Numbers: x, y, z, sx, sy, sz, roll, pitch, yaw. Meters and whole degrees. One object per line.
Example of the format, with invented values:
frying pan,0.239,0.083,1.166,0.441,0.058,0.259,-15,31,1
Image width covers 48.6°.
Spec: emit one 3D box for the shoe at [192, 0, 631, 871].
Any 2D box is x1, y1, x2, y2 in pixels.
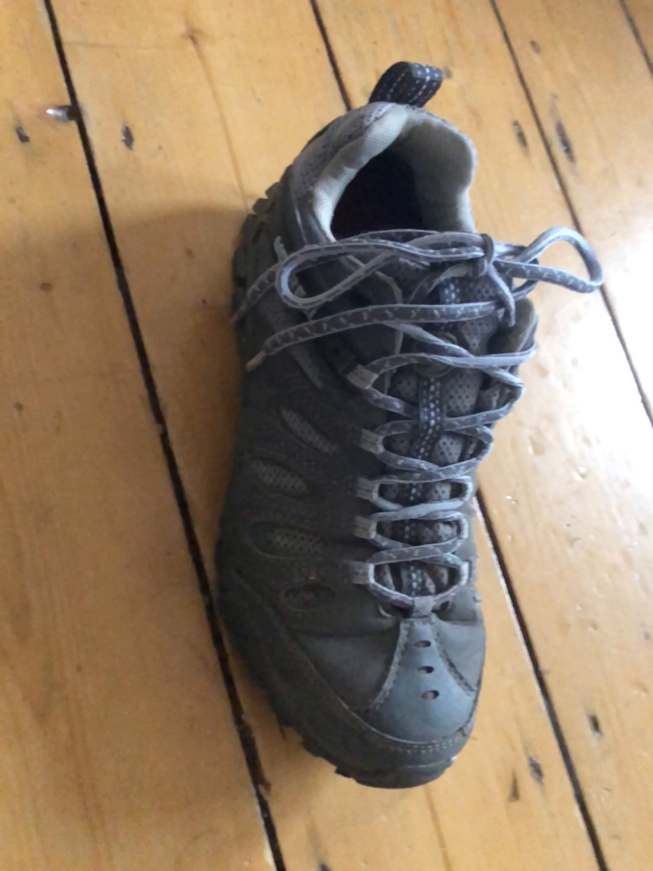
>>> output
shoe,0.016,-0.005,0.290,0.100,0.109,0.280,2,73,-26
